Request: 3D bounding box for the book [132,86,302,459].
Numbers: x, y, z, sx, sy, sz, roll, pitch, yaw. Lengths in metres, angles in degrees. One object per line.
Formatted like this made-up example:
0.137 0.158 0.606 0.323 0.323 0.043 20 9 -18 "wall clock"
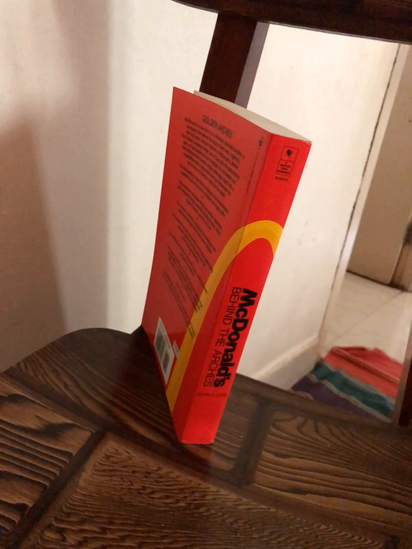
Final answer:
-0.013 -0.016 0.371 0.040 0.239 0.191 5 23 -18 "book"
